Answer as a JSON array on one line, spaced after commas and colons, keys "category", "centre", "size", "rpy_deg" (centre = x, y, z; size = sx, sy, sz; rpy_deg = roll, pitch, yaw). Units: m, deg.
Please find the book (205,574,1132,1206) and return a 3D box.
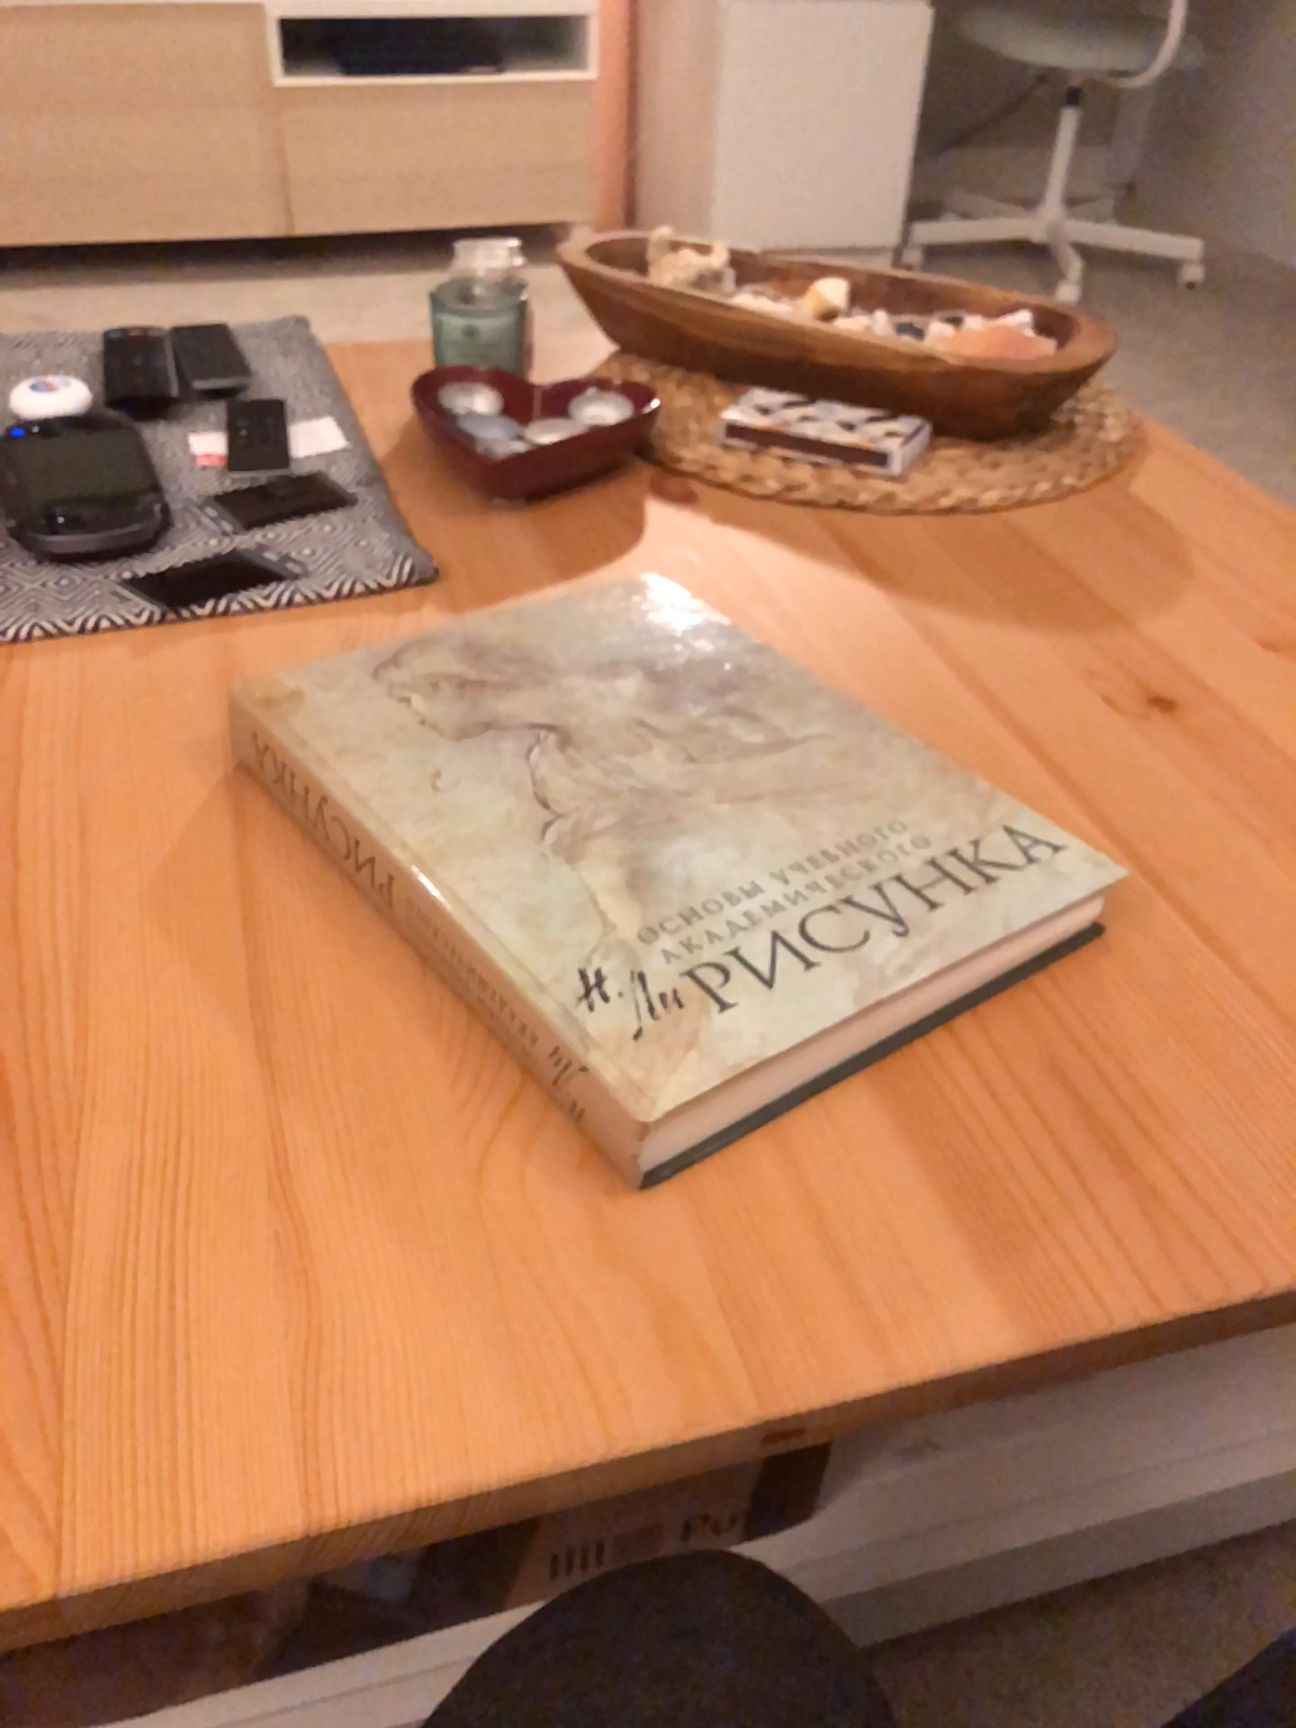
[{"category": "book", "centre": [-0.003, -0.020, 0.529], "size": [0.215, 0.030, 0.272], "rpy_deg": [-22, 43, -32]}]
